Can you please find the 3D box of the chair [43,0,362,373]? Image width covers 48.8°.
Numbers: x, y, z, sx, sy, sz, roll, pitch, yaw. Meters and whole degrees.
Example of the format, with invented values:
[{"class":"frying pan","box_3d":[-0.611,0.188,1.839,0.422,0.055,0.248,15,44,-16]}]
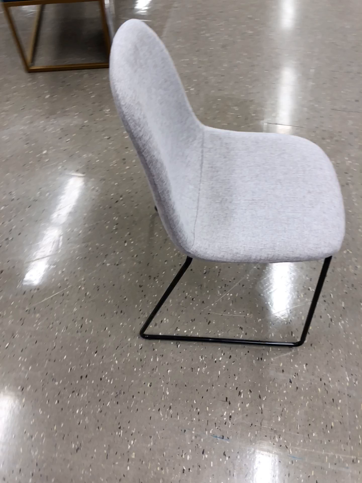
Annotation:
[{"class":"chair","box_3d":[0.132,-0.103,1.013,0.580,0.778,0.591,5,57,3]}]
